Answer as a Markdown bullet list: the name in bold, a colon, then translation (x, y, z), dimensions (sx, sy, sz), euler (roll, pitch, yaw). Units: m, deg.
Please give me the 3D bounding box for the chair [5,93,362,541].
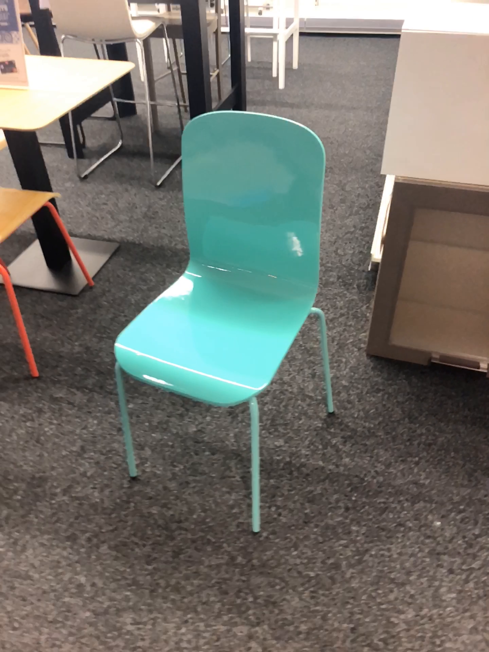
- **chair**: translation (-0.075, -0.013, 1.289), dimensions (0.490, 0.865, 0.503), euler (16, 43, 20)
